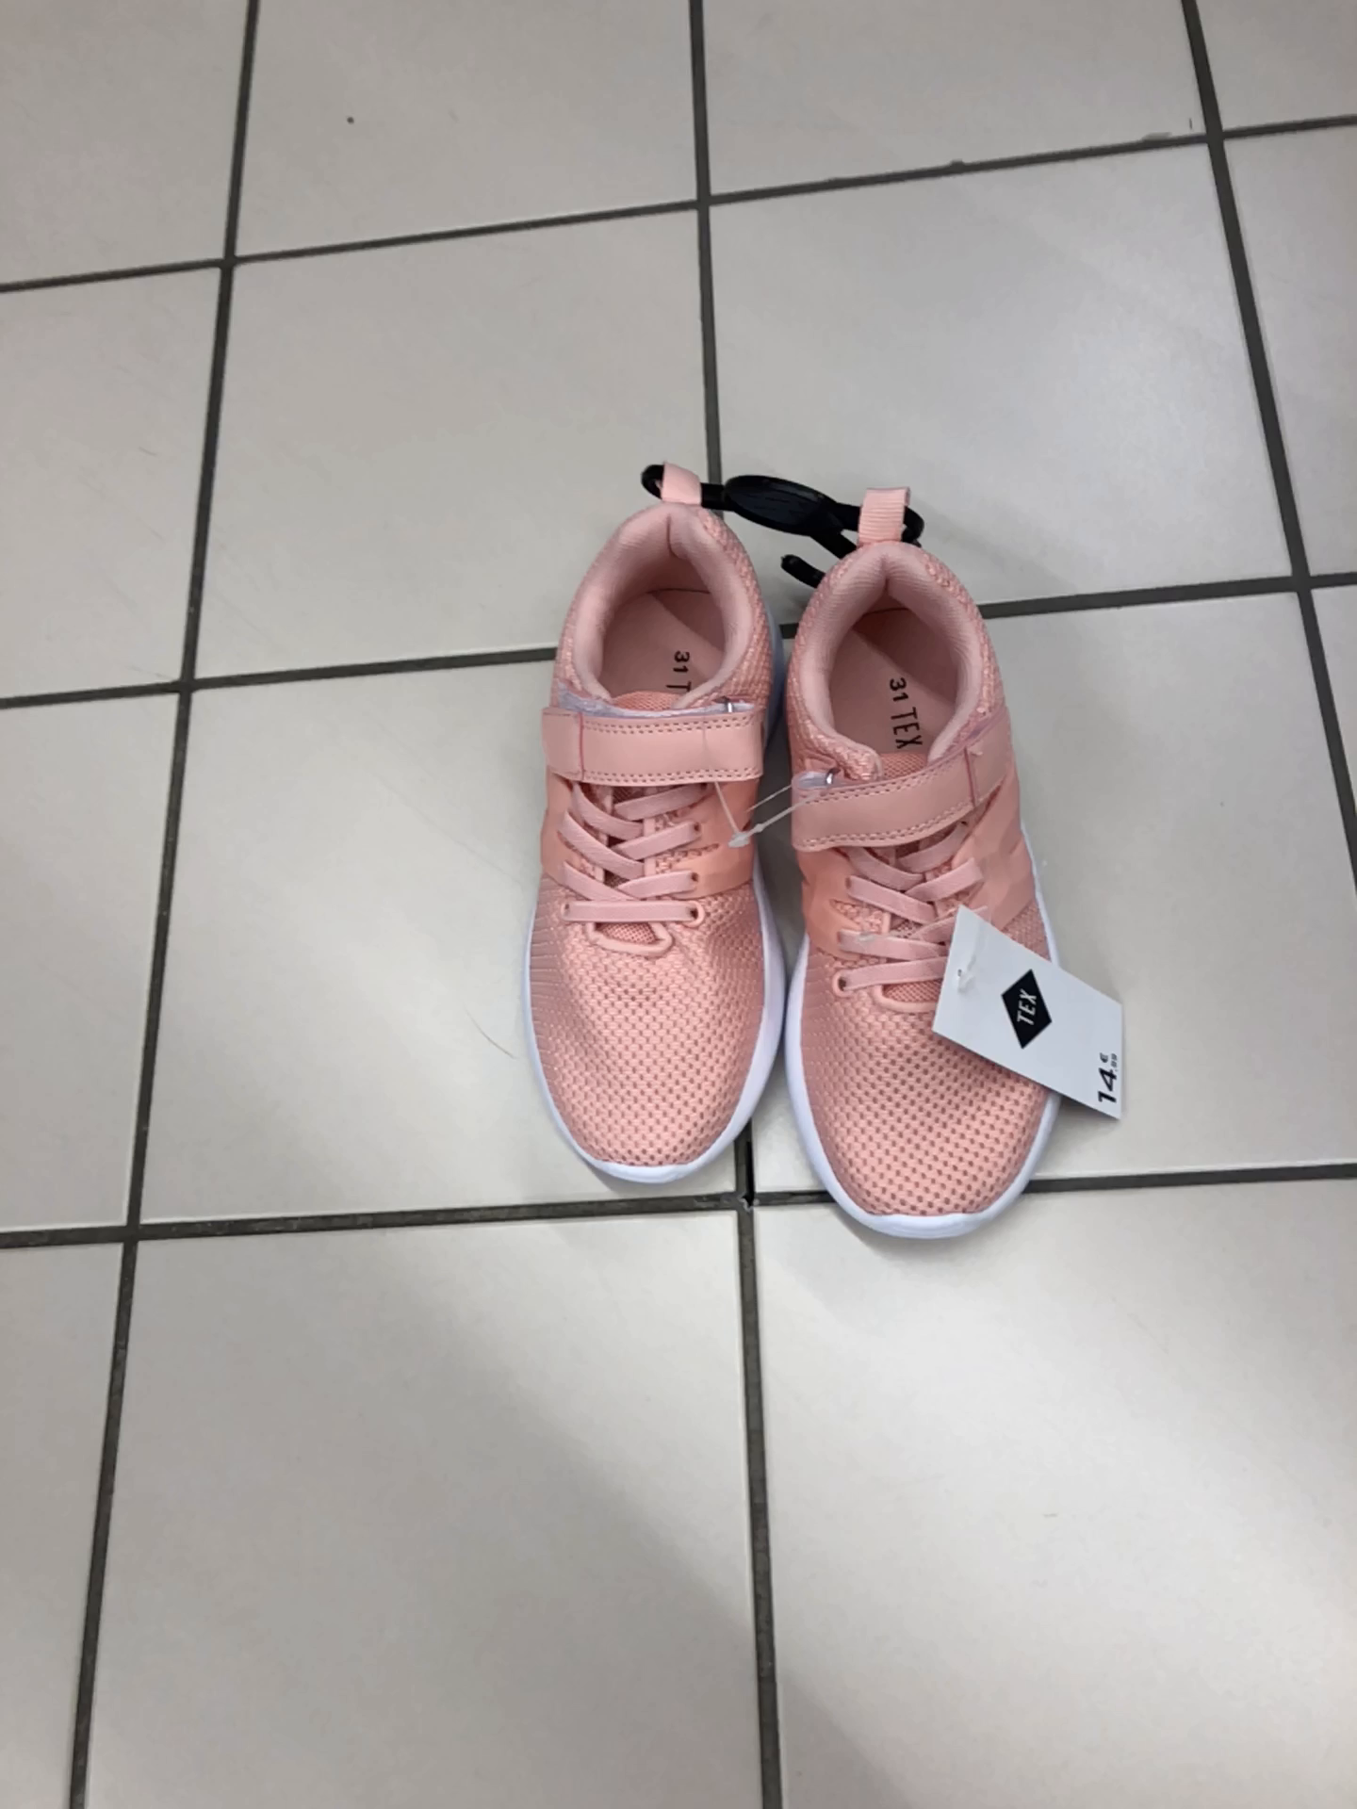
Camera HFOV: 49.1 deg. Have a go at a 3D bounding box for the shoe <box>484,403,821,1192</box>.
[{"bbox_3d":[-0.007,-0.030,0.445,0.080,0.092,0.210,-5,69,6],"label":"shoe"}]

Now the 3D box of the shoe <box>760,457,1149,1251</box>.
[{"bbox_3d":[0.072,-0.011,0.427,0.083,0.093,0.203,-3,69,7],"label":"shoe"}]
